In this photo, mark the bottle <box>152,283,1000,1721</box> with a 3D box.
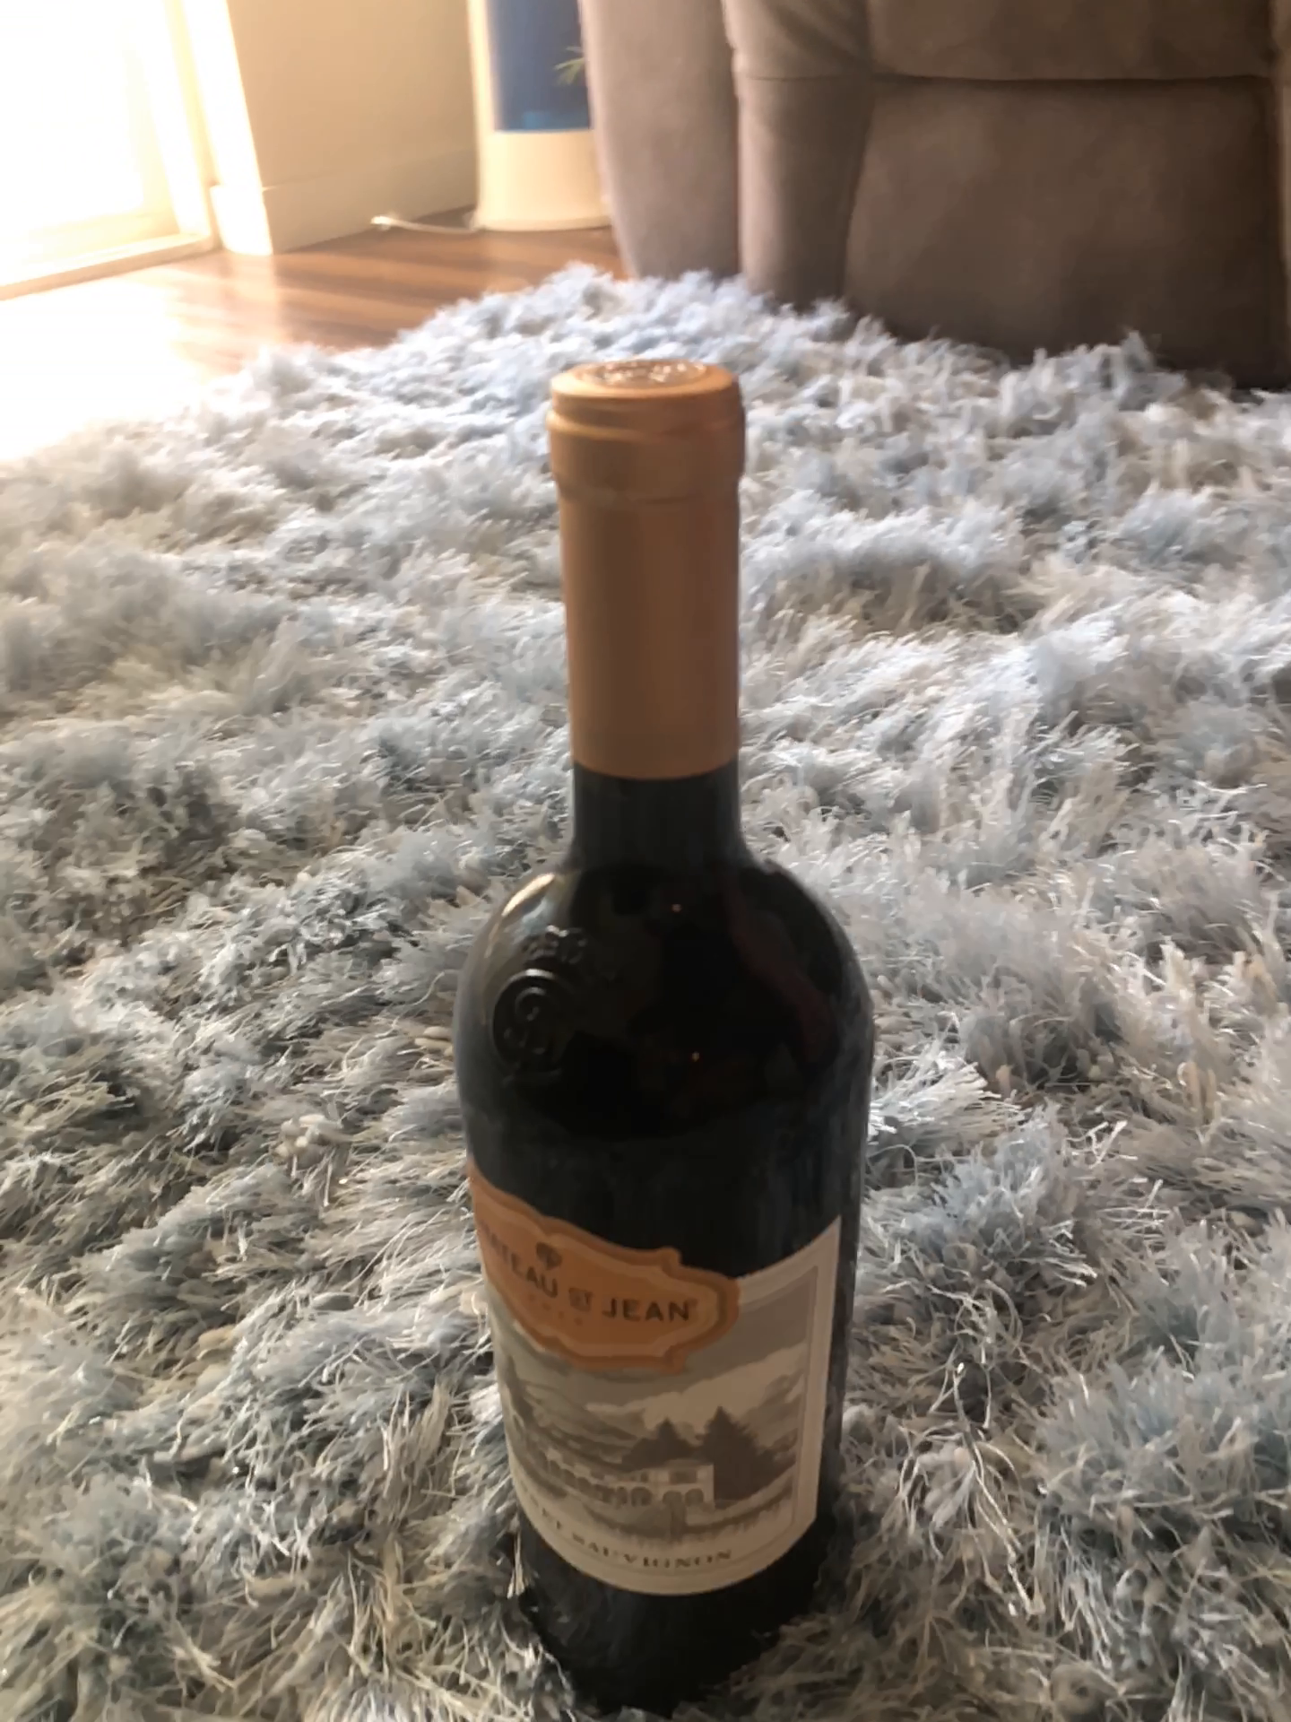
[{"bbox_3d":[0.003,0.053,0.286,0.090,0.298,0.090,-3,33,2],"label":"bottle"}]
